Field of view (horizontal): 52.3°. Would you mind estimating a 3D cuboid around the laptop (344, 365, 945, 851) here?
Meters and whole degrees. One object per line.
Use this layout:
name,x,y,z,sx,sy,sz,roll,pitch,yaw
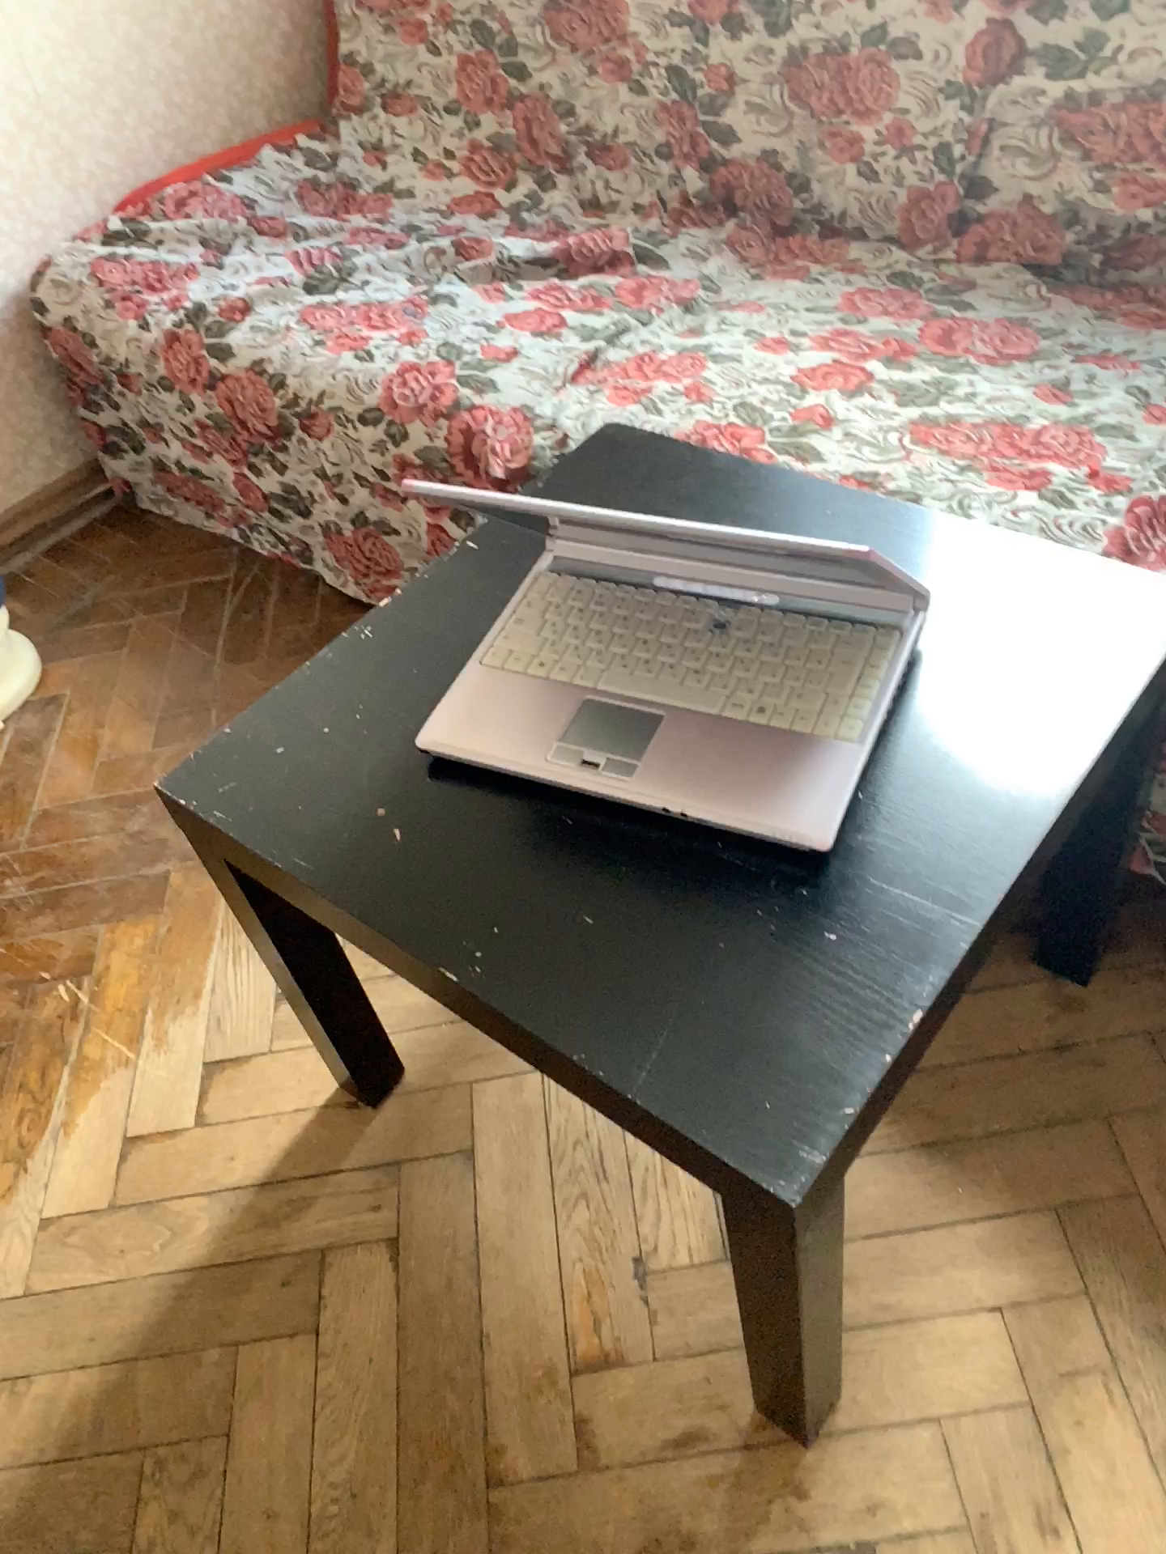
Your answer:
laptop,0.049,-0.125,0.778,0.305,0.156,0.226,14,52,23
